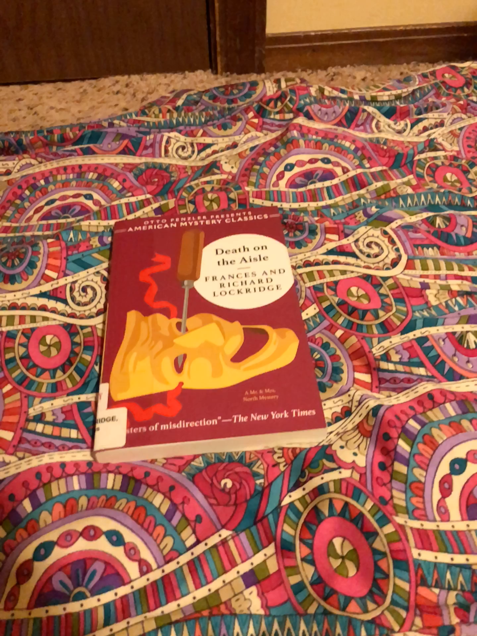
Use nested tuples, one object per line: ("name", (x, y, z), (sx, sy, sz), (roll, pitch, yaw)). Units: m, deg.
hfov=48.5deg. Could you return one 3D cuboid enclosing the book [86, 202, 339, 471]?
("book", (-0.022, -0.002, 0.357), (0.137, 0.024, 0.196), (-5, 51, -3))
